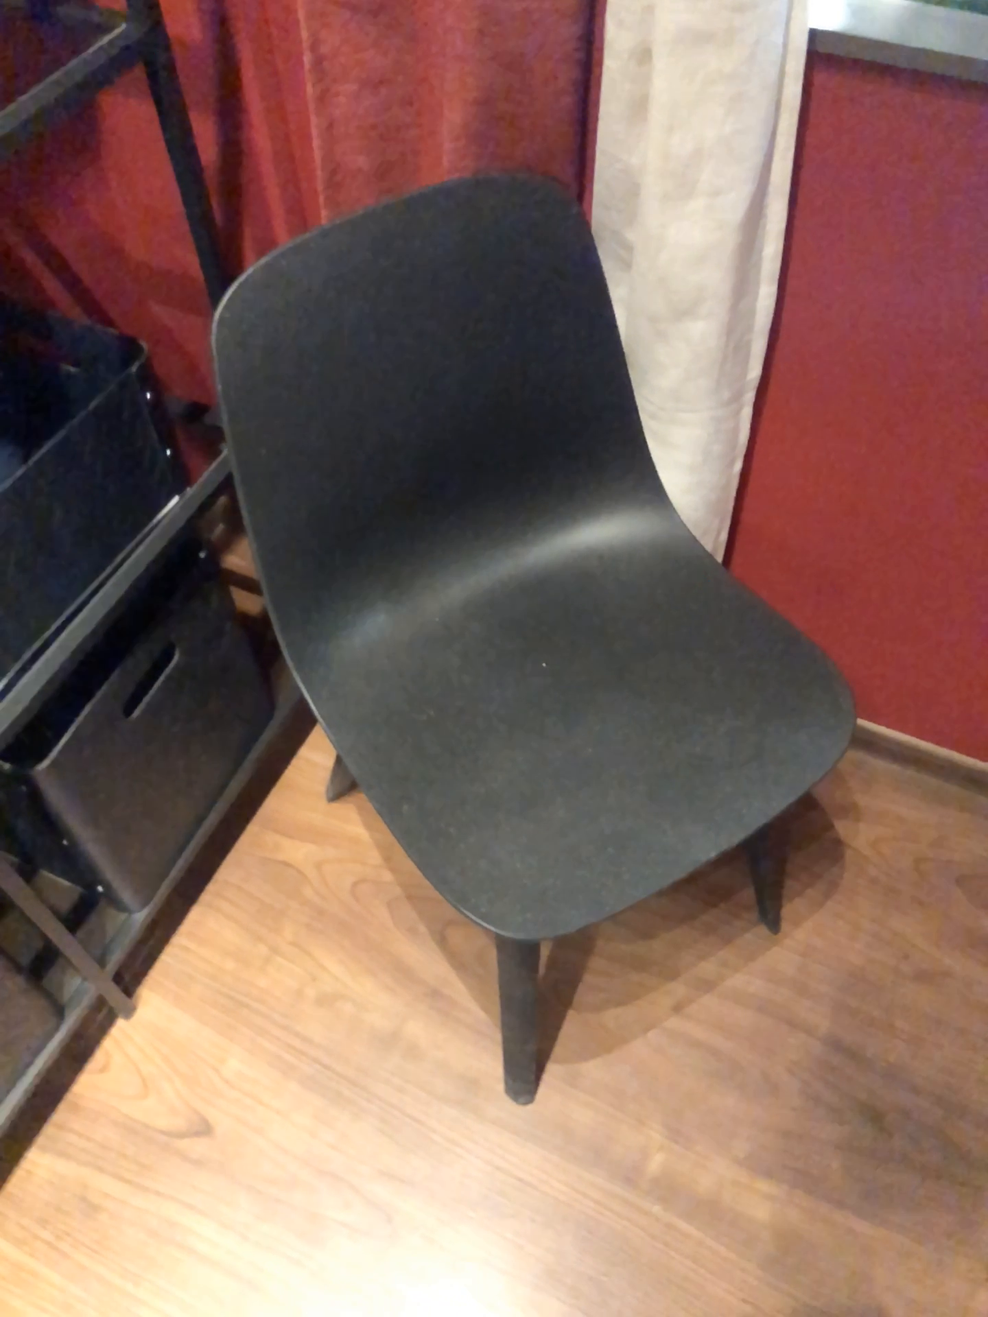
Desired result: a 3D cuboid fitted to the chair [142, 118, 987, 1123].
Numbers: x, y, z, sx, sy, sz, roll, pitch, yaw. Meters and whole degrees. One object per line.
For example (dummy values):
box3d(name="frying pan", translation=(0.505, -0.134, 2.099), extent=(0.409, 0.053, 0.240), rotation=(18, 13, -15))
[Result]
box3d(name="chair", translation=(0.053, 0.012, 1.022), extent=(0.411, 0.726, 0.482), rotation=(-27, 57, -18))
